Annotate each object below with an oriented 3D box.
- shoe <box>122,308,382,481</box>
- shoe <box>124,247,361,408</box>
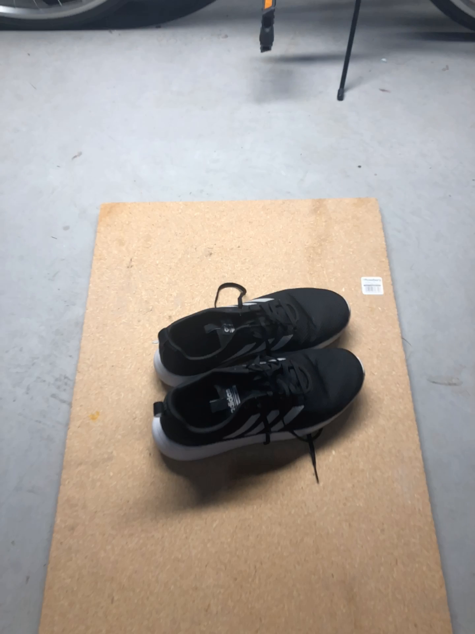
[{"bbox_3d":[0.017,0.098,0.679,0.300,0.090,0.110,-16,56,-8],"label":"shoe"},{"bbox_3d":[0.007,0.012,0.741,0.300,0.090,0.110,-18,56,-9],"label":"shoe"}]
